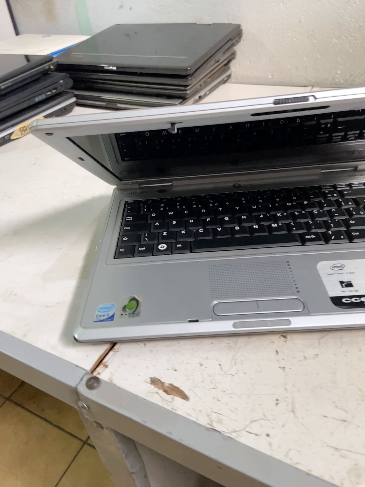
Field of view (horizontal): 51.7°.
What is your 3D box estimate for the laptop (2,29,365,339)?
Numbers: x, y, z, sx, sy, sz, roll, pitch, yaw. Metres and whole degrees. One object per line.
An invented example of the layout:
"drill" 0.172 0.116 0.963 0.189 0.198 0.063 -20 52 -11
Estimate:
"laptop" 0.074 -0.072 0.341 0.335 0.153 0.244 -5 37 3
